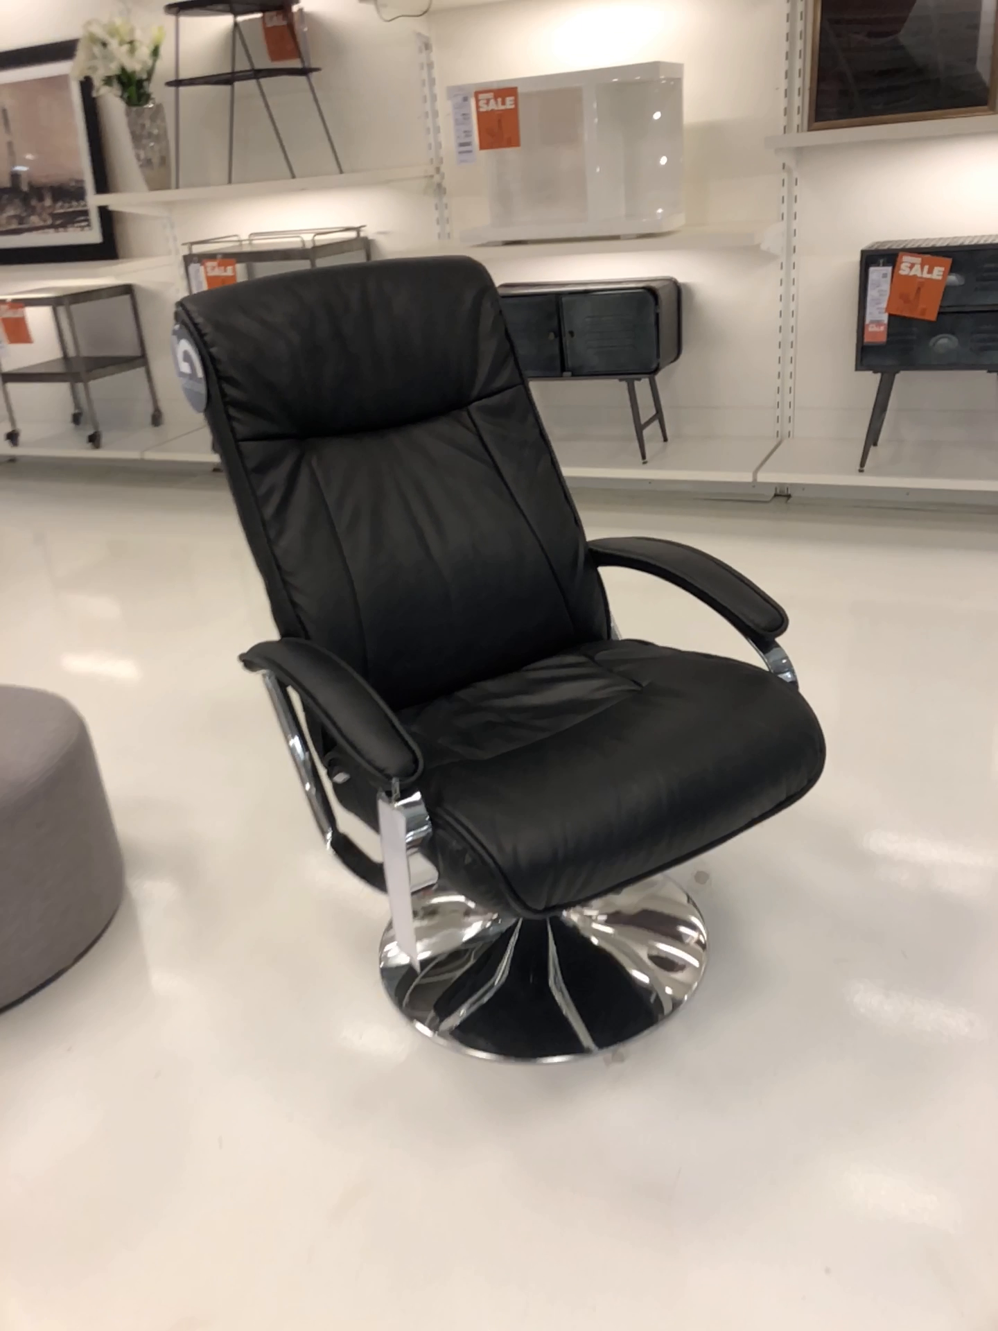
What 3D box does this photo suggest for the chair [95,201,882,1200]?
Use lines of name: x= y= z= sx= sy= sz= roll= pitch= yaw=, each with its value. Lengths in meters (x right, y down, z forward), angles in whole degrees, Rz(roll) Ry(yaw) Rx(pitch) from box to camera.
chair: x=0.007 y=-0.045 z=1.662 sx=0.752 sy=1.132 sz=0.723 roll=-21 pitch=28 yaw=-32
